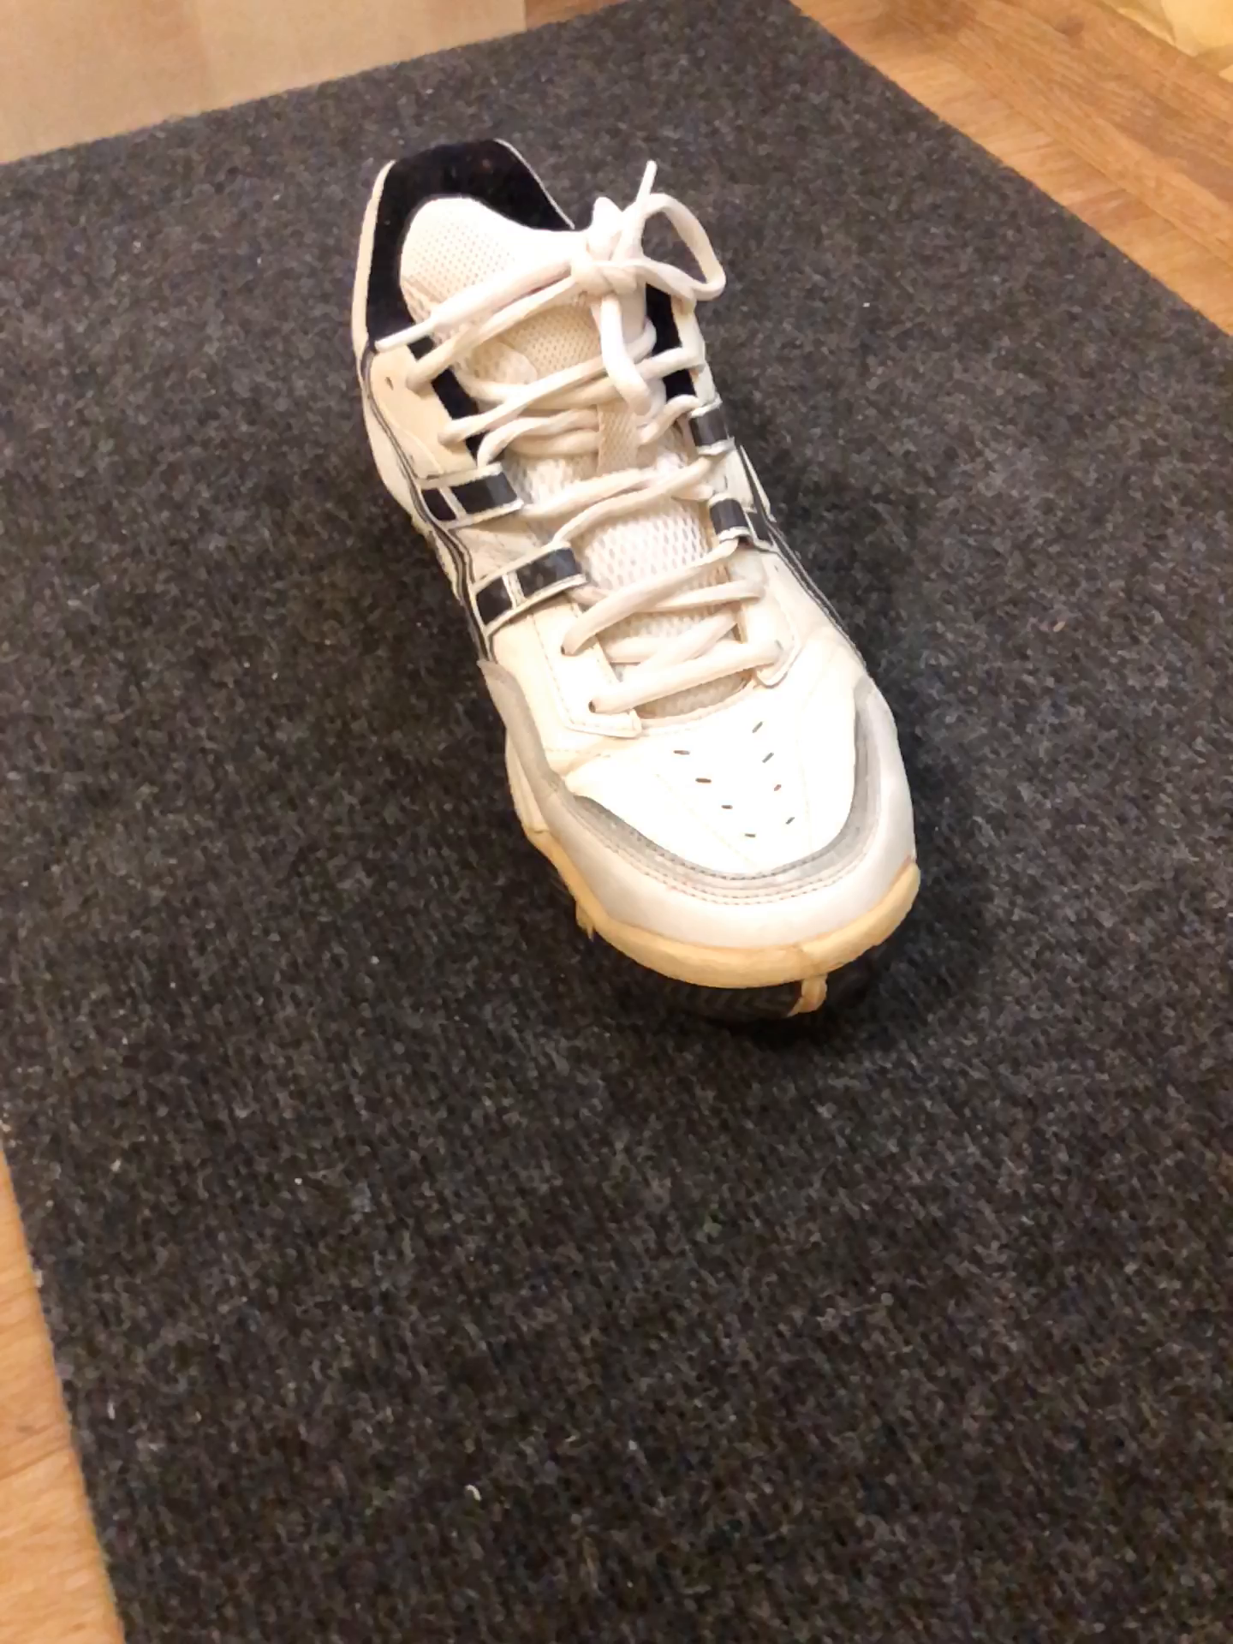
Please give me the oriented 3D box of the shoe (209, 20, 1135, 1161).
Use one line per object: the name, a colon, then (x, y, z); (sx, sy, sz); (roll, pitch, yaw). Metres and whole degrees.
shoe: (-0.011, -0.081, 0.347); (0.100, 0.110, 0.290); (-19, 53, -12)
